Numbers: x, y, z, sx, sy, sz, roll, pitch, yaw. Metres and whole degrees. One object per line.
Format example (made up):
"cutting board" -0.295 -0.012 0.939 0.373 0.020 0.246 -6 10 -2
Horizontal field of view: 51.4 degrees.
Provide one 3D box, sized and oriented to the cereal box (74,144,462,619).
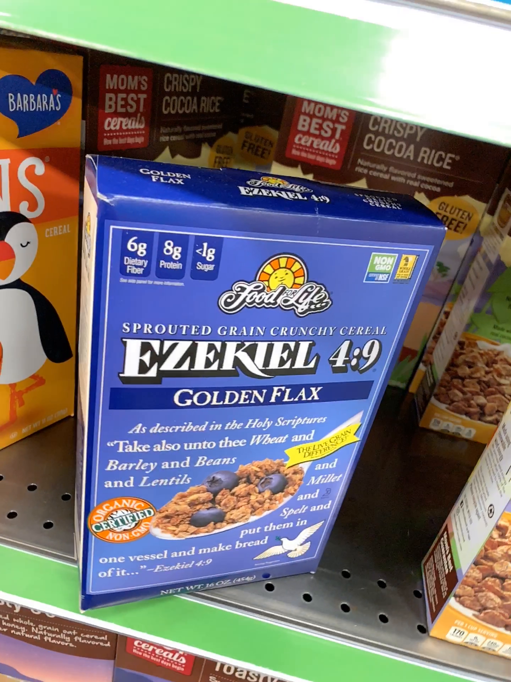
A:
"cereal box" -0.014 0.037 0.295 0.160 0.249 0.060 0 31 -20
